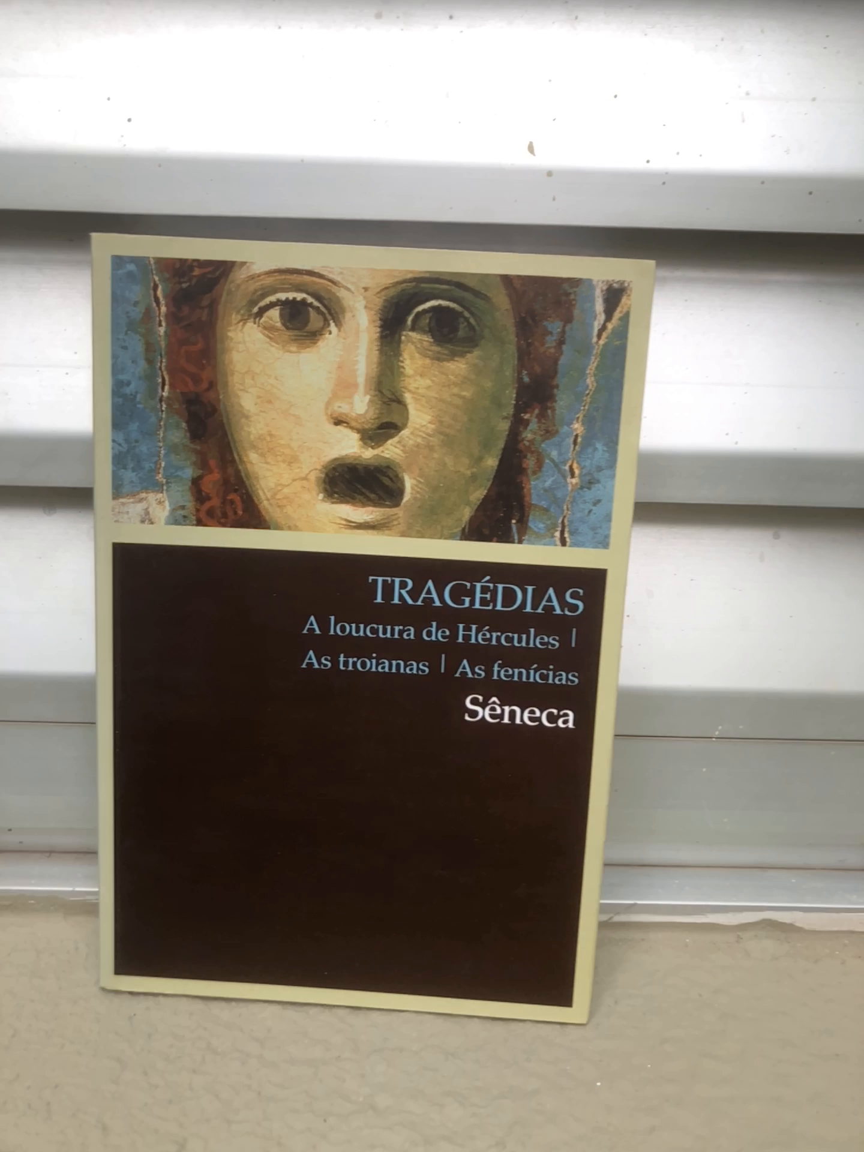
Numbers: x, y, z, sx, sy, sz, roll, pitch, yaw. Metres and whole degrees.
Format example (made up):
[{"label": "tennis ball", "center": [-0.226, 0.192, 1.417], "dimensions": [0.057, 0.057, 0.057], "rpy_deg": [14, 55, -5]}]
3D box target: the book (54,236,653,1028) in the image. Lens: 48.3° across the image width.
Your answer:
[{"label": "book", "center": [-0.023, 0.016, 0.256], "dimensions": [0.144, 0.197, 0.026], "rpy_deg": [3, 8, 4]}]
